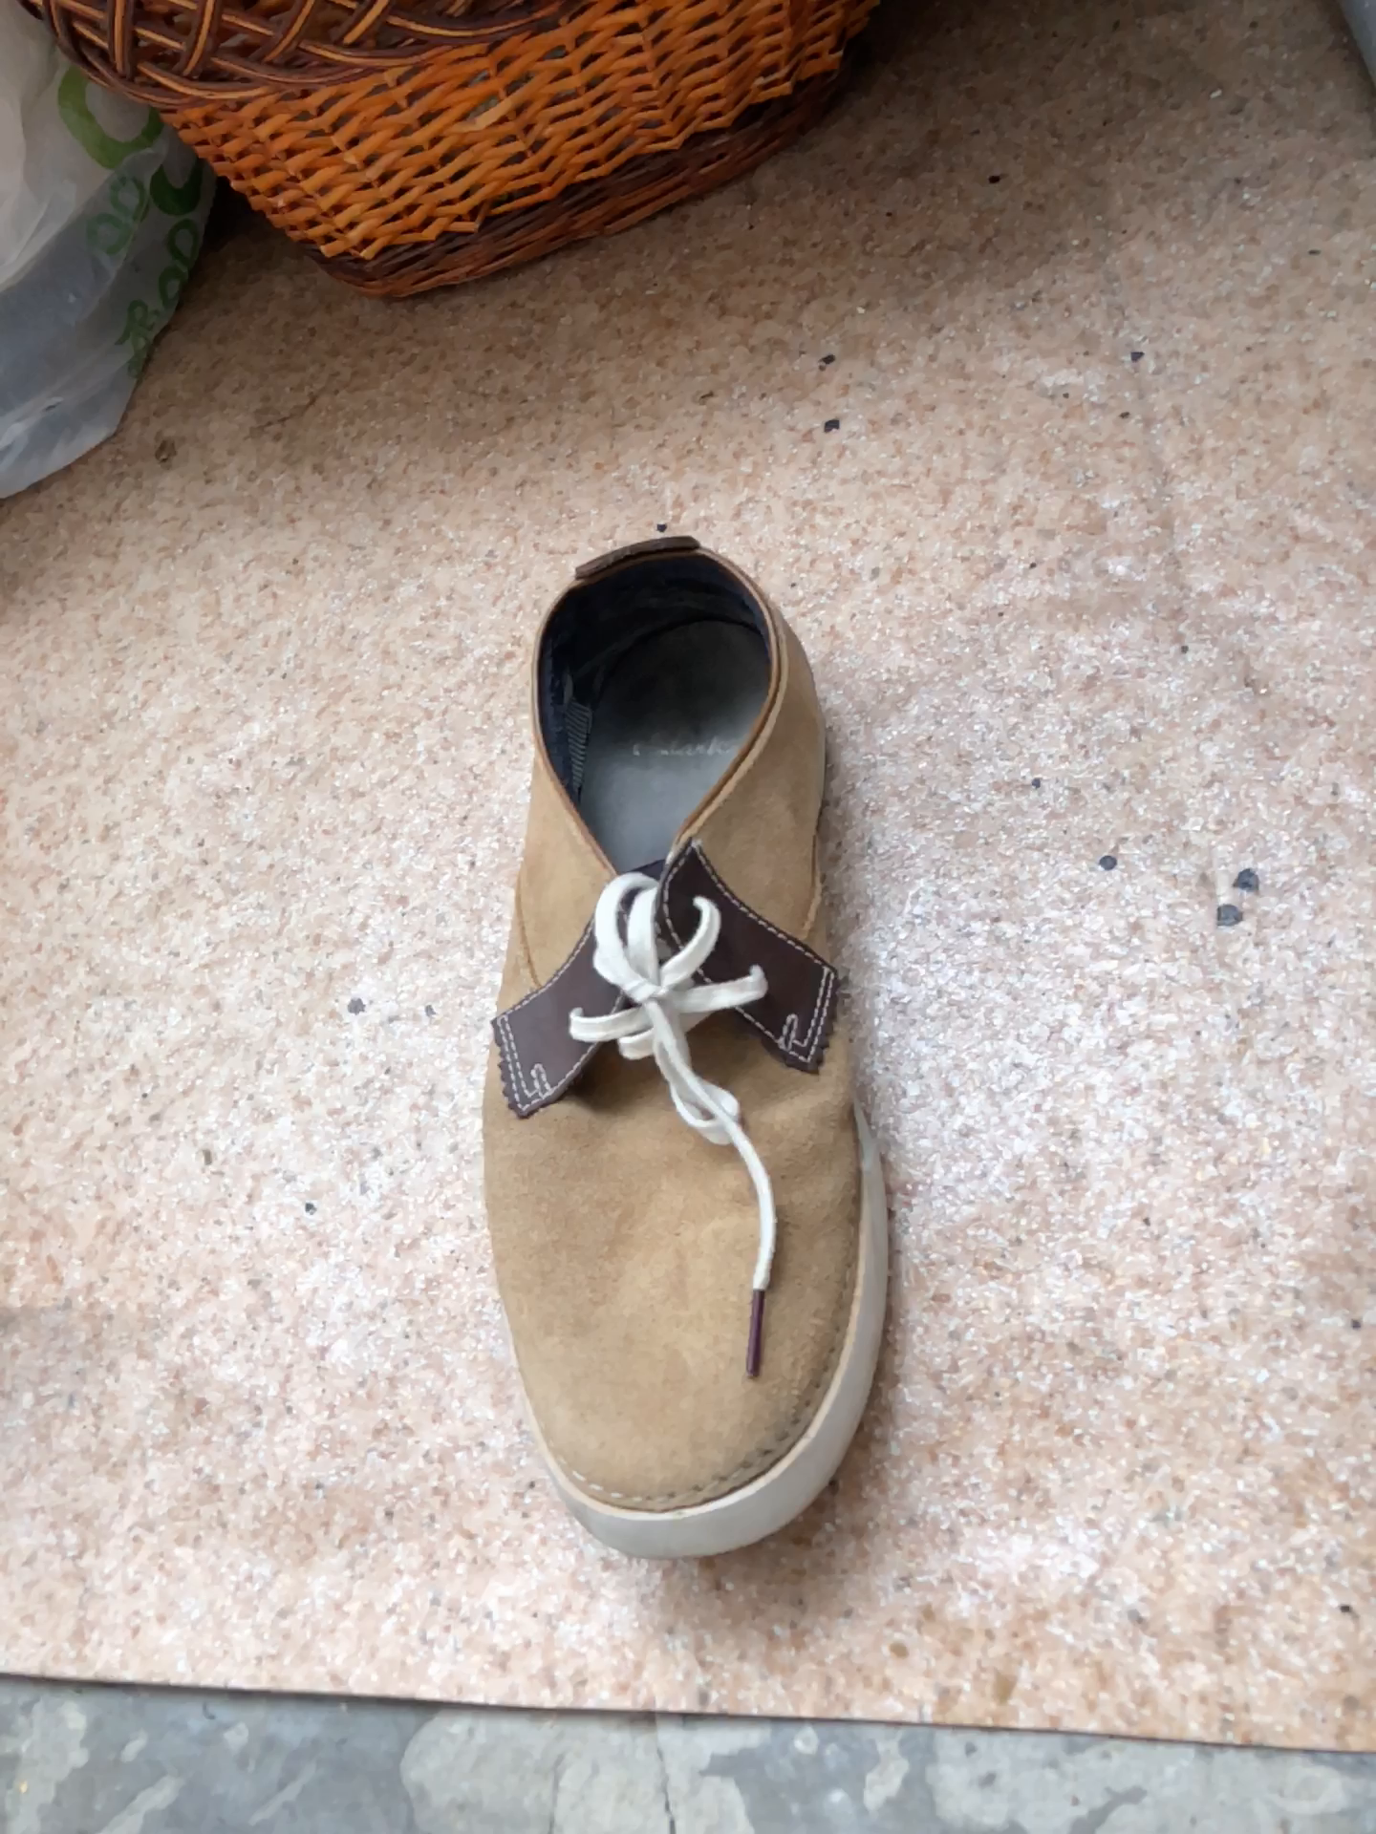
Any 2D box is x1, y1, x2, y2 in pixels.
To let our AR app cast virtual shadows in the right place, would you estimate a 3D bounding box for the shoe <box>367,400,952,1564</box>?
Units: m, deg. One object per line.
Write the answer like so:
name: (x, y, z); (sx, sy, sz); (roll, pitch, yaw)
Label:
shoe: (0.000, 0.011, 0.416); (0.110, 0.090, 0.301); (-8, 60, 17)
